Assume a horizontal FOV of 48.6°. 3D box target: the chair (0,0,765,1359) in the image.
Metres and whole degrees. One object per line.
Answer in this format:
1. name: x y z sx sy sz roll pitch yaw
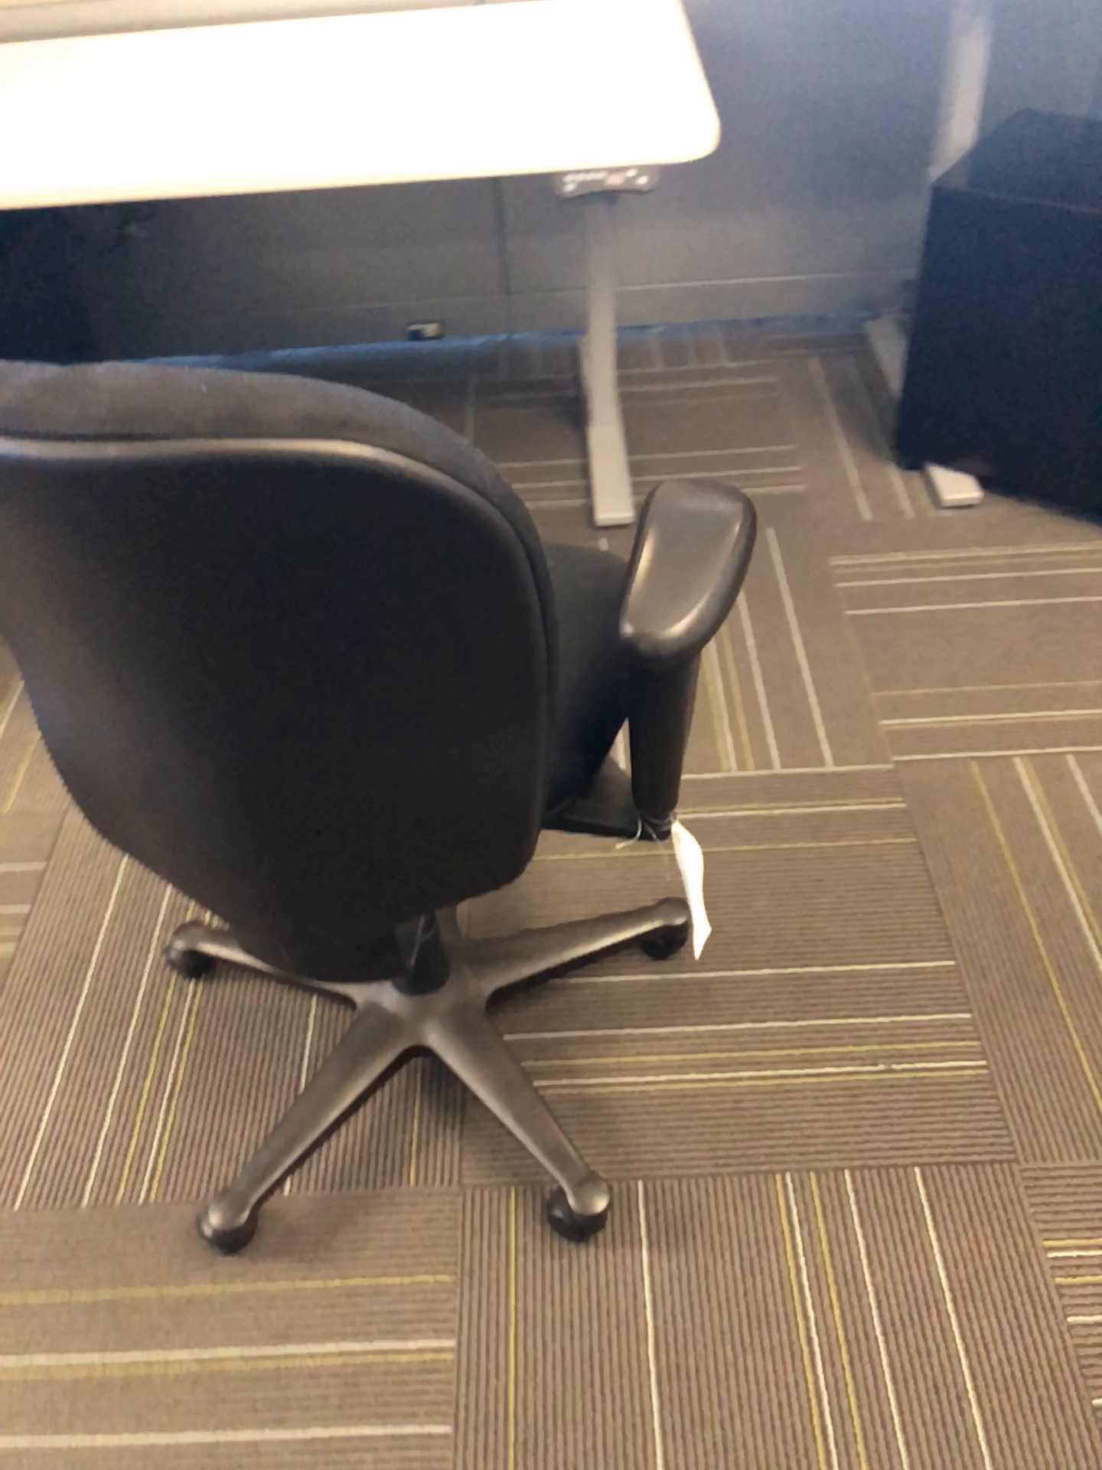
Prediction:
1. chair: -0.236 -0.057 1.128 0.701 0.995 0.683 9 45 15
